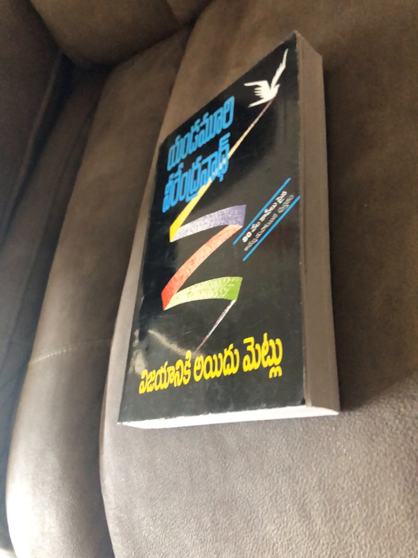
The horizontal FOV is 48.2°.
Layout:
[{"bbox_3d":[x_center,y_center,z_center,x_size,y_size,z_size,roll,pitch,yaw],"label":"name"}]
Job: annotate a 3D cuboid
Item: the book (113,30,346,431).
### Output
[{"bbox_3d":[0.006,-0.023,0.283,0.144,0.026,0.212,-22,55,44],"label":"book"}]
